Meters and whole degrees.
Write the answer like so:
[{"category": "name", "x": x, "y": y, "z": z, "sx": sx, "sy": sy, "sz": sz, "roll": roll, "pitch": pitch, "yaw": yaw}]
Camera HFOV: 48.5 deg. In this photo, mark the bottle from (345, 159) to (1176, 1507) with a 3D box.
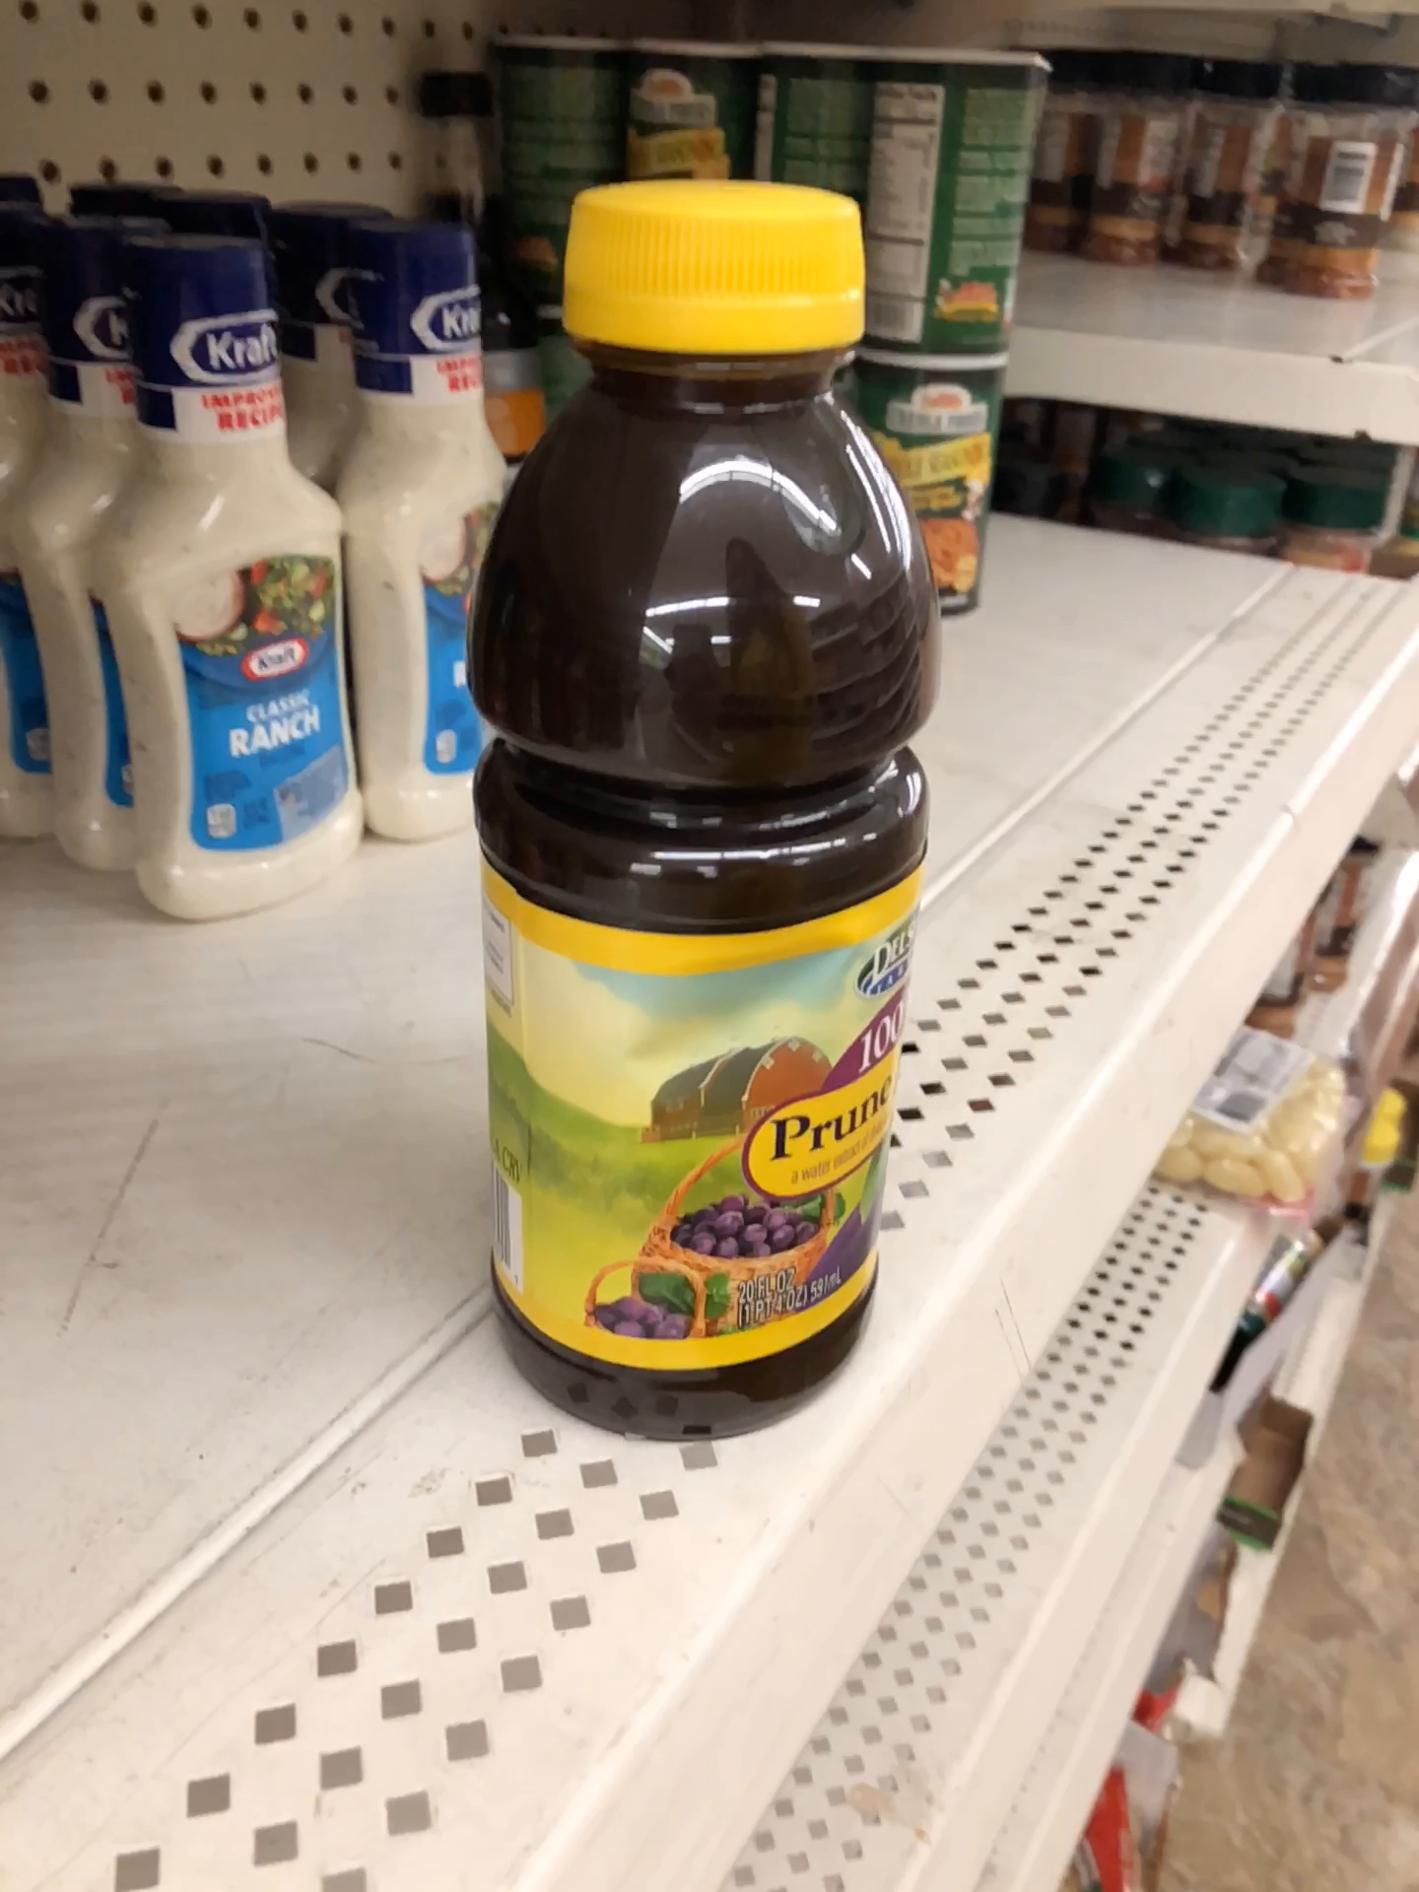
[{"category": "bottle", "x": 0.007, "y": -0.019, "z": 0.248, "sx": 0.080, "sy": 0.181, "sz": 0.080, "roll": 2, "pitch": 29, "yaw": -1}]
